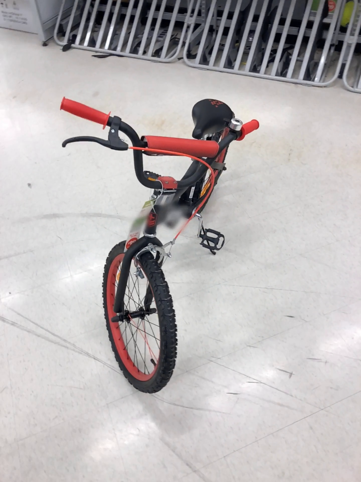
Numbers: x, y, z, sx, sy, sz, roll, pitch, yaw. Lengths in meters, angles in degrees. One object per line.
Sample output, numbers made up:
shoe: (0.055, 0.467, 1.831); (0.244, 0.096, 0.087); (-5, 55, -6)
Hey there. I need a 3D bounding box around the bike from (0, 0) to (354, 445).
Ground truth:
bike: (0.087, -0.201, 1.350); (0.625, 0.924, 1.253); (9, 49, 10)
